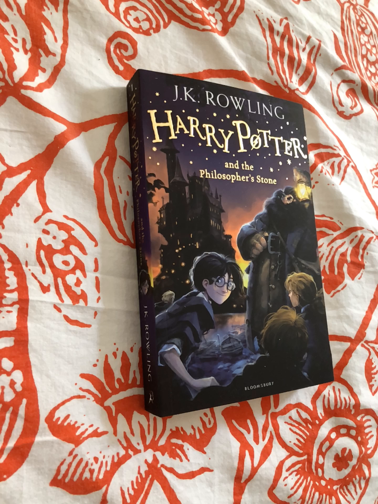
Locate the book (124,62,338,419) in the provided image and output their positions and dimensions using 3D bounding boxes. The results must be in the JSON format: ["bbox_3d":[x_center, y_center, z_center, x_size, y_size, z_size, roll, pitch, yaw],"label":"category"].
[{"bbox_3d":[0.029,-0.010,0.259,0.127,0.020,0.189,-1,83,-29],"label":"book"}]
